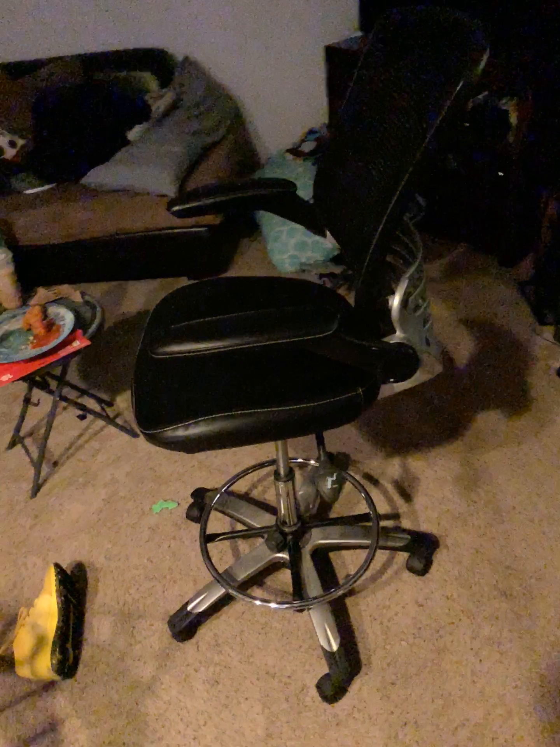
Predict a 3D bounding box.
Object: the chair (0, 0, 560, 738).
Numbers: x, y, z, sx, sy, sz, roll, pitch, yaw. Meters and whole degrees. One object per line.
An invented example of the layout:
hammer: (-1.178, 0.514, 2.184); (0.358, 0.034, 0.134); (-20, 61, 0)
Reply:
chair: (0.013, -0.011, 1.184); (0.700, 1.120, 0.780); (-8, 38, -1)
